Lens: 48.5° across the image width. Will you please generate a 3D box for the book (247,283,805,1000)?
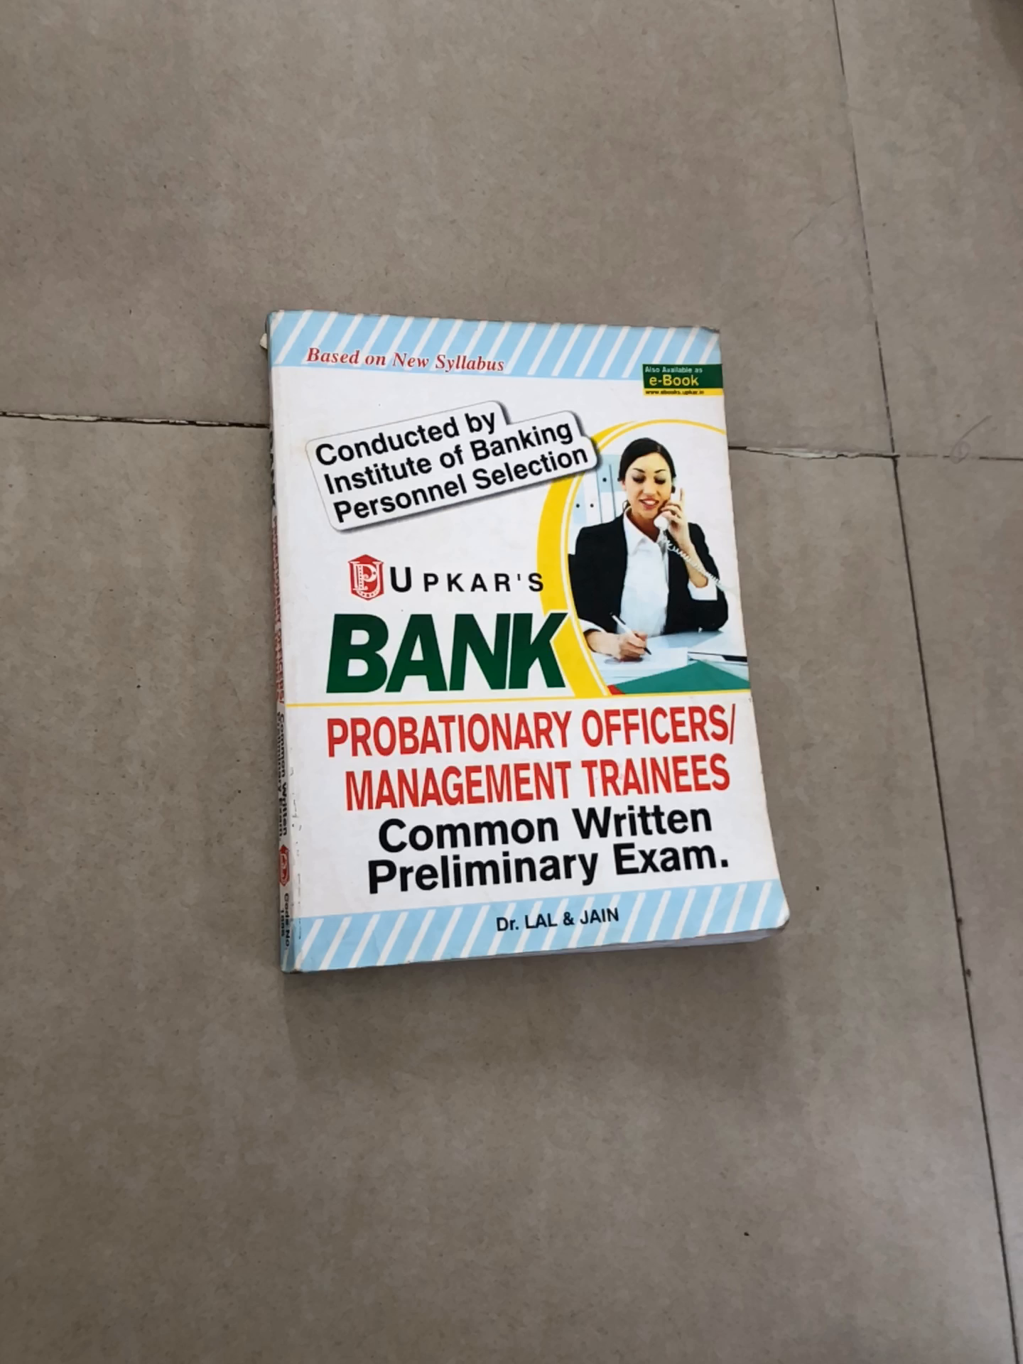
[{"bbox_3d":[0.001,-0.016,0.399,0.180,0.040,0.230,0,80,-15],"label":"book"}]
